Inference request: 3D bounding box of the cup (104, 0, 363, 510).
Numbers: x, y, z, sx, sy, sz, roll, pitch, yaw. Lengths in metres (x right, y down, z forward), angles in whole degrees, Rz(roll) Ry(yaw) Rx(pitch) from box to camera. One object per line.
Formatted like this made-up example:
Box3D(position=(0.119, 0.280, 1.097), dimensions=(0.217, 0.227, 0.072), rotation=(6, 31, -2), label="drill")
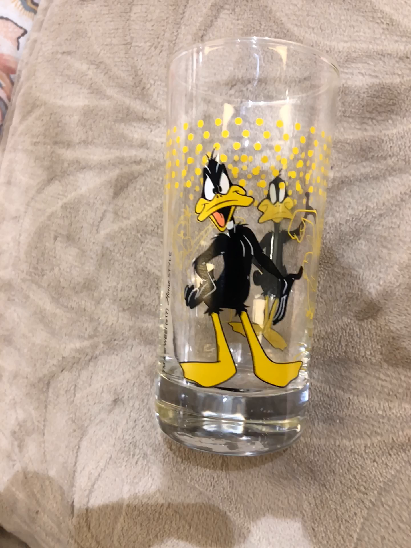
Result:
Box3D(position=(0.017, -0.013, 0.177), dimensions=(0.070, 0.070, 0.160), rotation=(3, 85, 17), label="cup")
